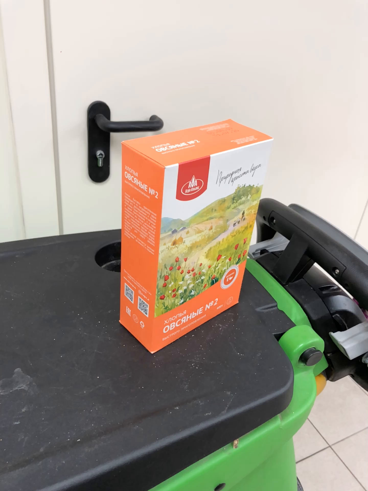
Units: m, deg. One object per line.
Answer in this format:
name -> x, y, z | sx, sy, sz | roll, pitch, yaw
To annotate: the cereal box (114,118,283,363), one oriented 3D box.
cereal box -> 0.009, -0.008, 0.411 | 0.150, 0.209, 0.060 | -23, 42, -38
